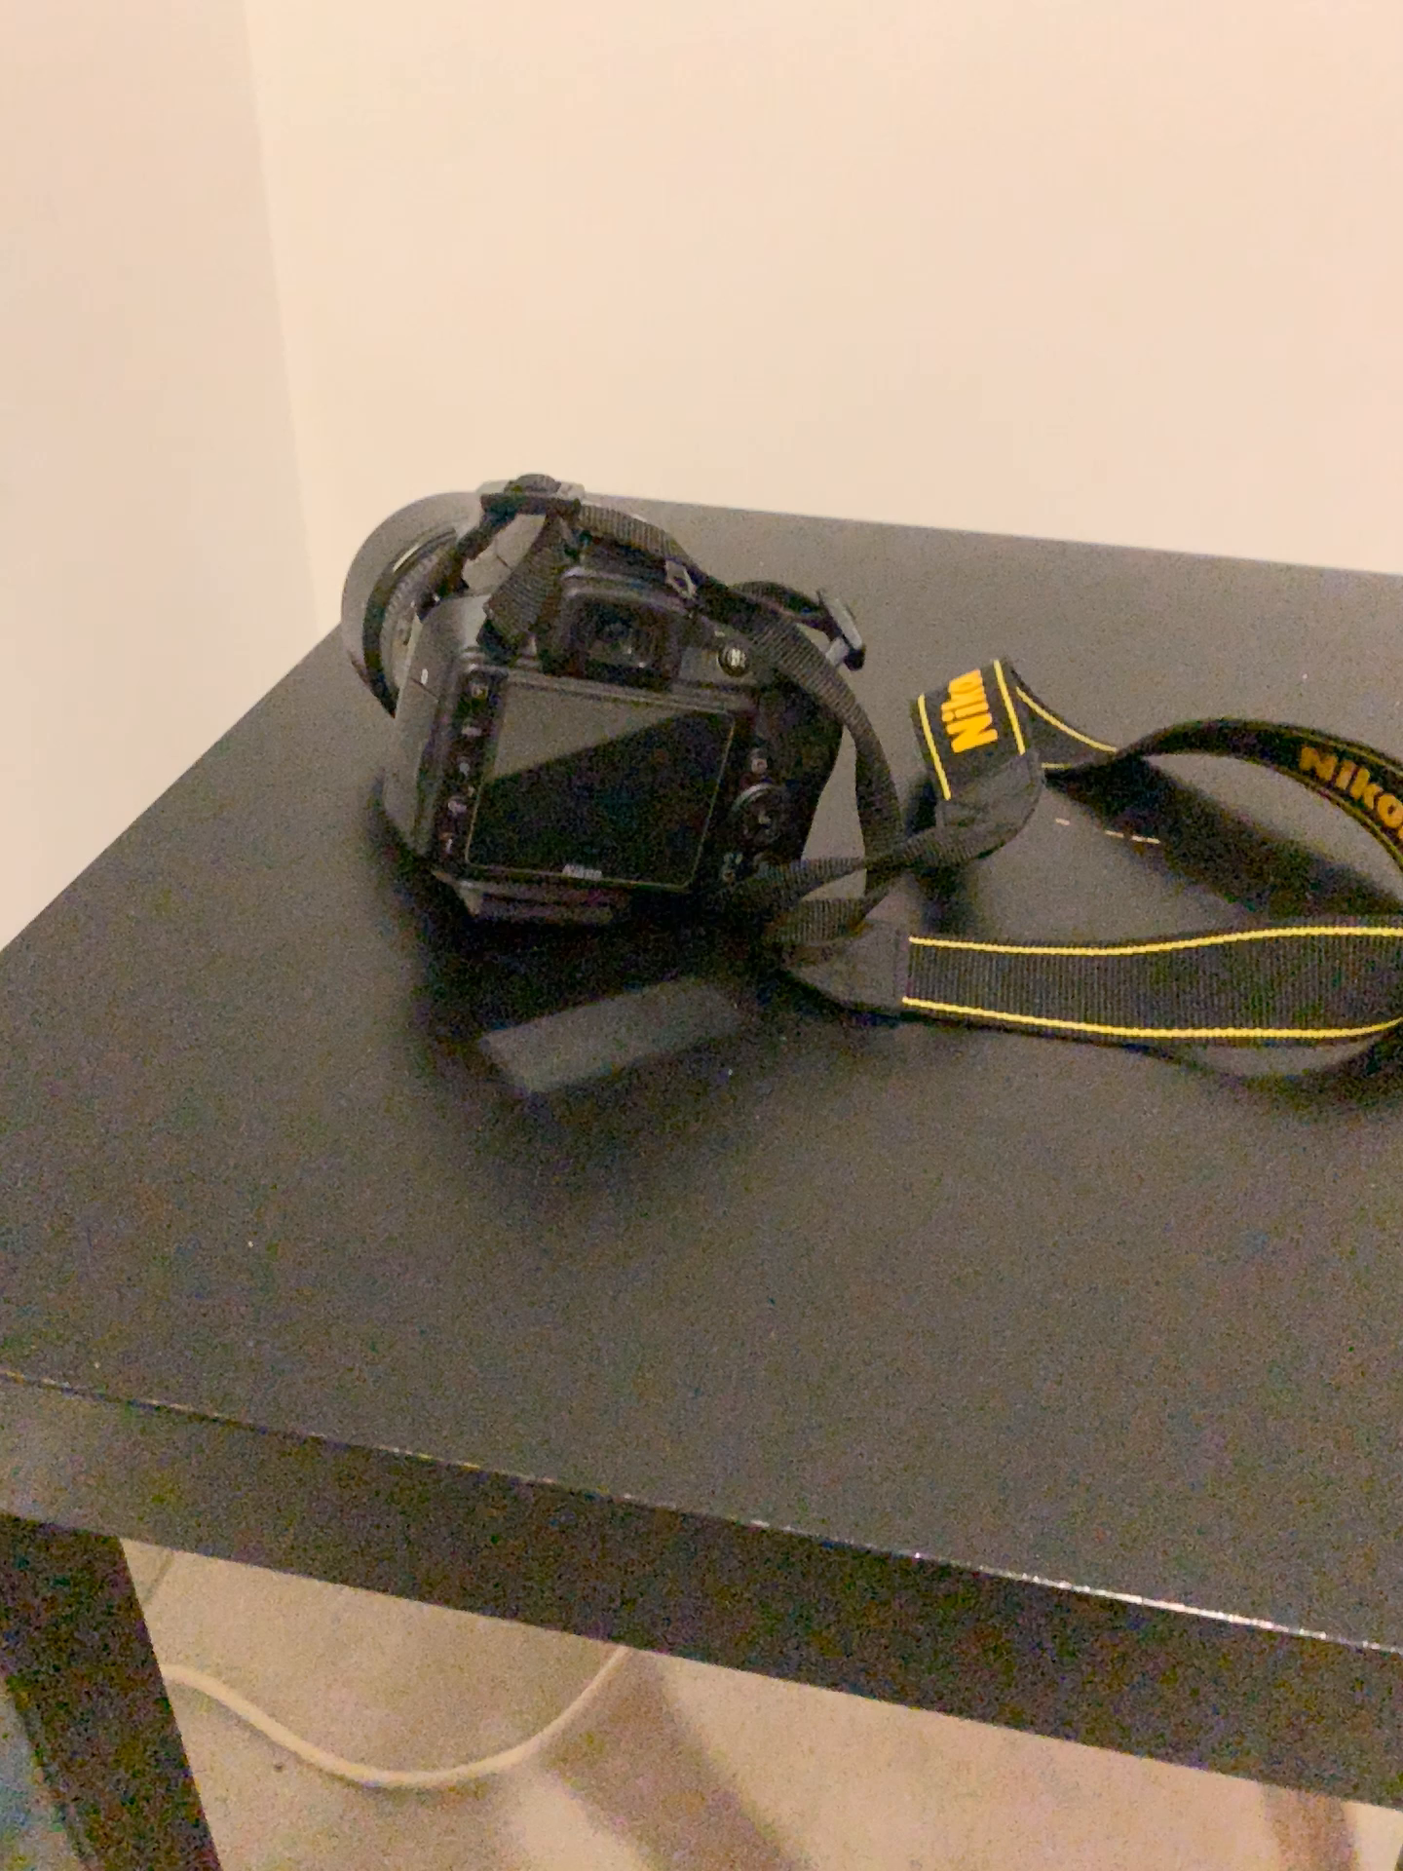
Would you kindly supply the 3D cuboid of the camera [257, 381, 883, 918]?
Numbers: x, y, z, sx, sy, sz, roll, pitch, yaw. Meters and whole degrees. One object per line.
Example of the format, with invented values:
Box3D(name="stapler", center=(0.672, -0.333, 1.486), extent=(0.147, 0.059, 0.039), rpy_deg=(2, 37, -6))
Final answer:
Box3D(name="camera", center=(-0.058, -0.099, 0.457), extent=(0.116, 0.089, 0.221), rpy_deg=(6, 24, -28))
